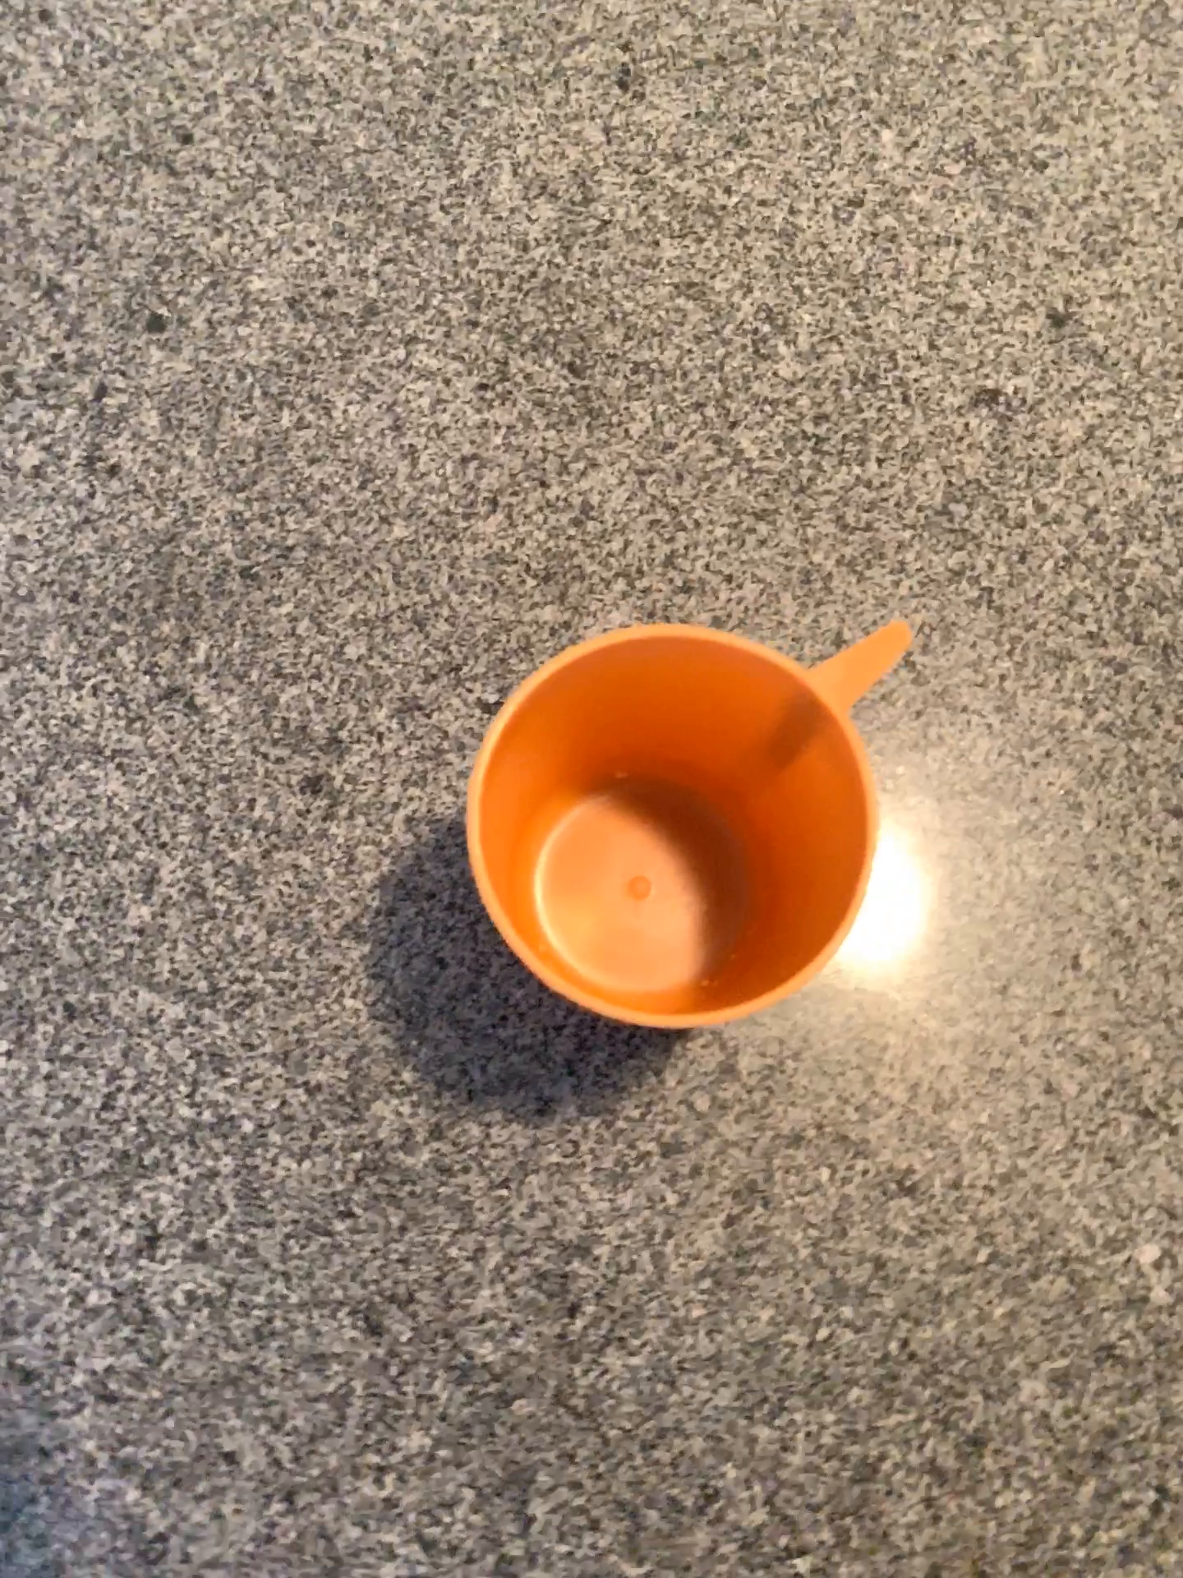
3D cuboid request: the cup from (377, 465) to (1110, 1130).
[{"bbox_3d":[0.026,0.008,0.266,0.110,0.090,0.080,-32,79,-11],"label":"cup"}]
